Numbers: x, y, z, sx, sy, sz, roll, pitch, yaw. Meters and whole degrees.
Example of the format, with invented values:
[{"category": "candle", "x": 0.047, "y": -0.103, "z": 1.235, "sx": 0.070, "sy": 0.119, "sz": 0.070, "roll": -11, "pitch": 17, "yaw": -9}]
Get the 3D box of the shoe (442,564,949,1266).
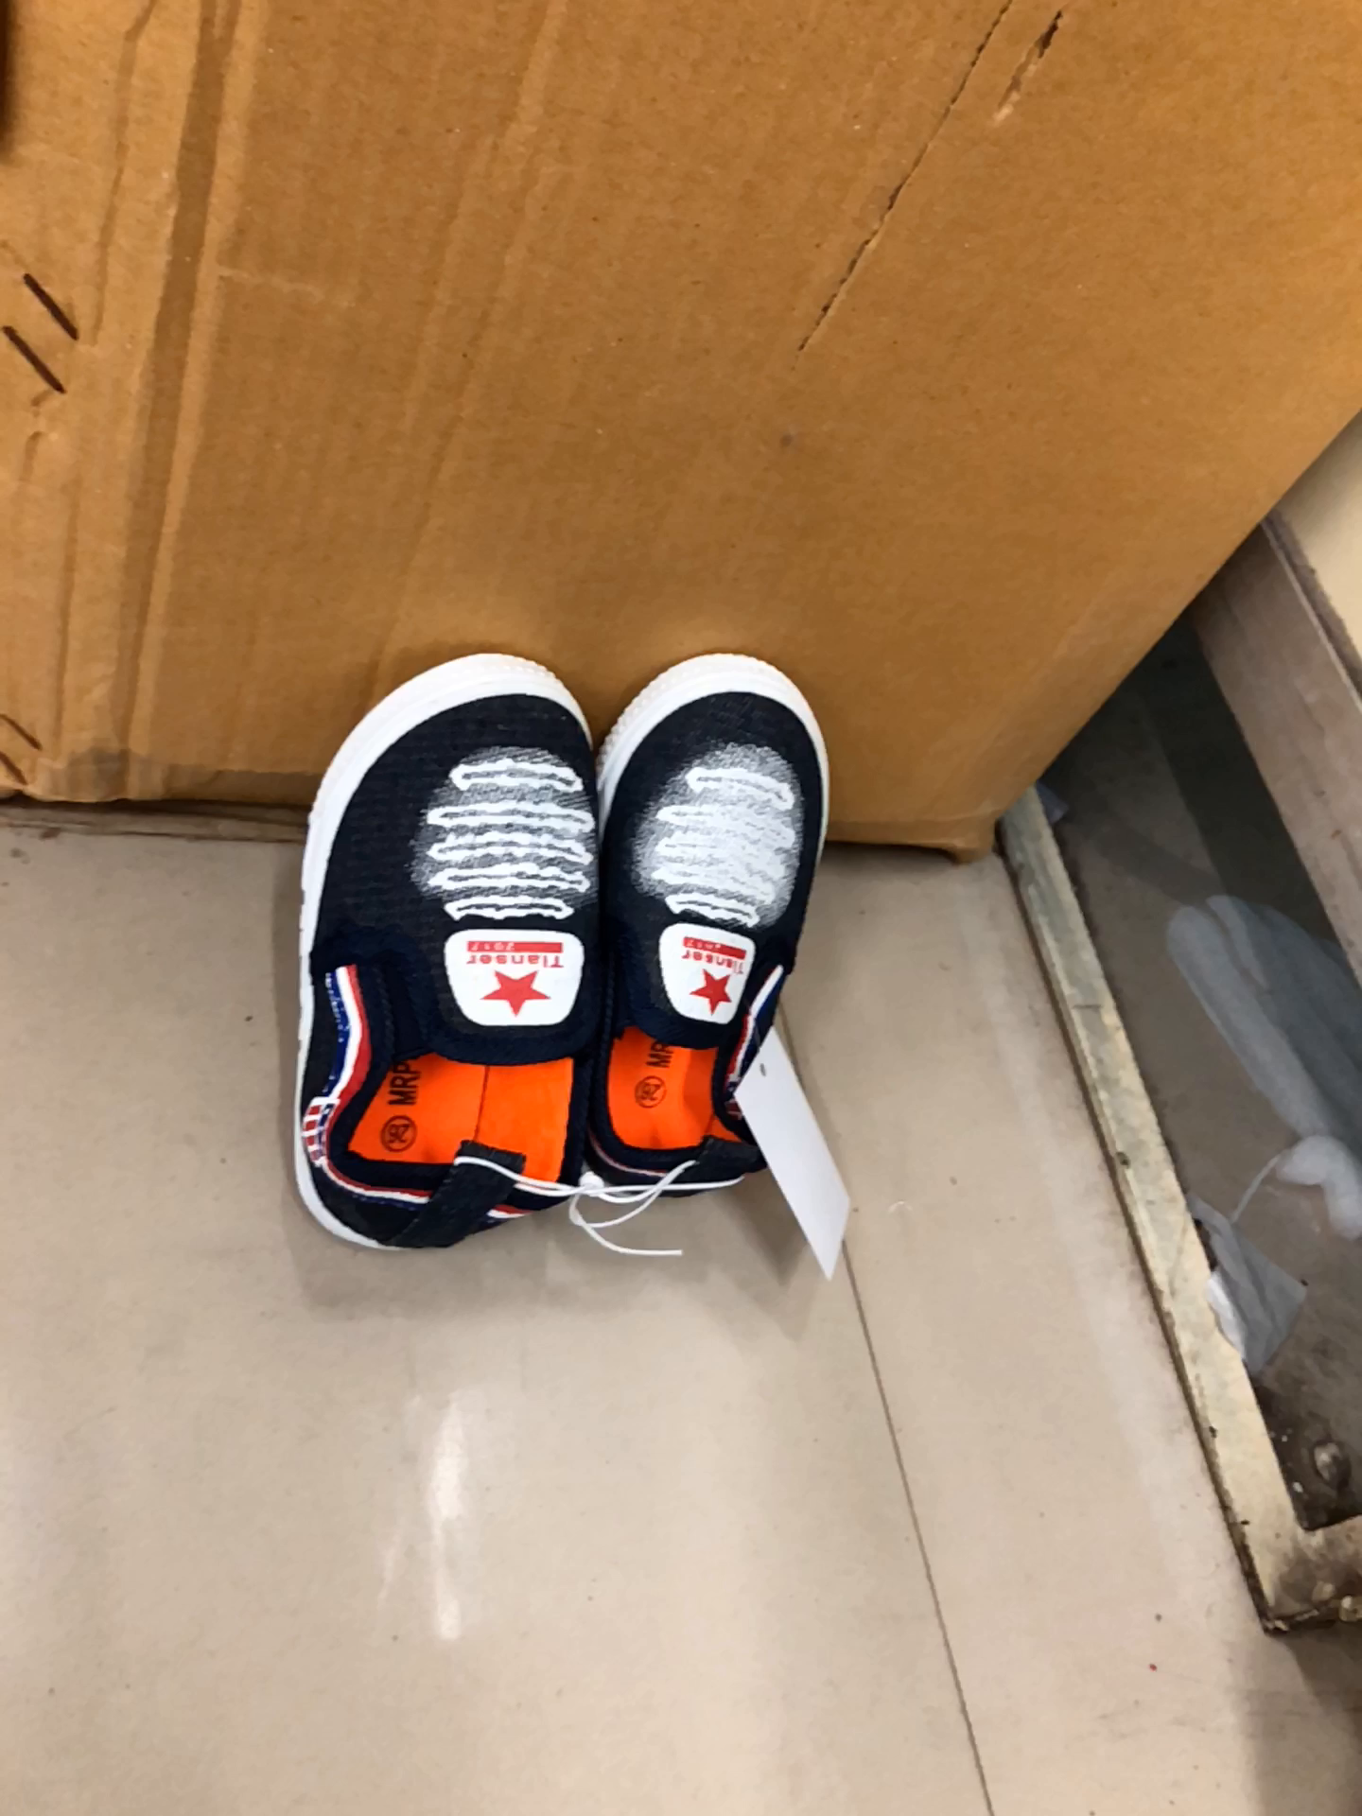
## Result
[{"category": "shoe", "x": -0.003, "y": 0.001, "z": 0.401, "sx": 0.080, "sy": 0.159, "sz": 0.080, "roll": 8, "pitch": 16, "yaw": -20}]
